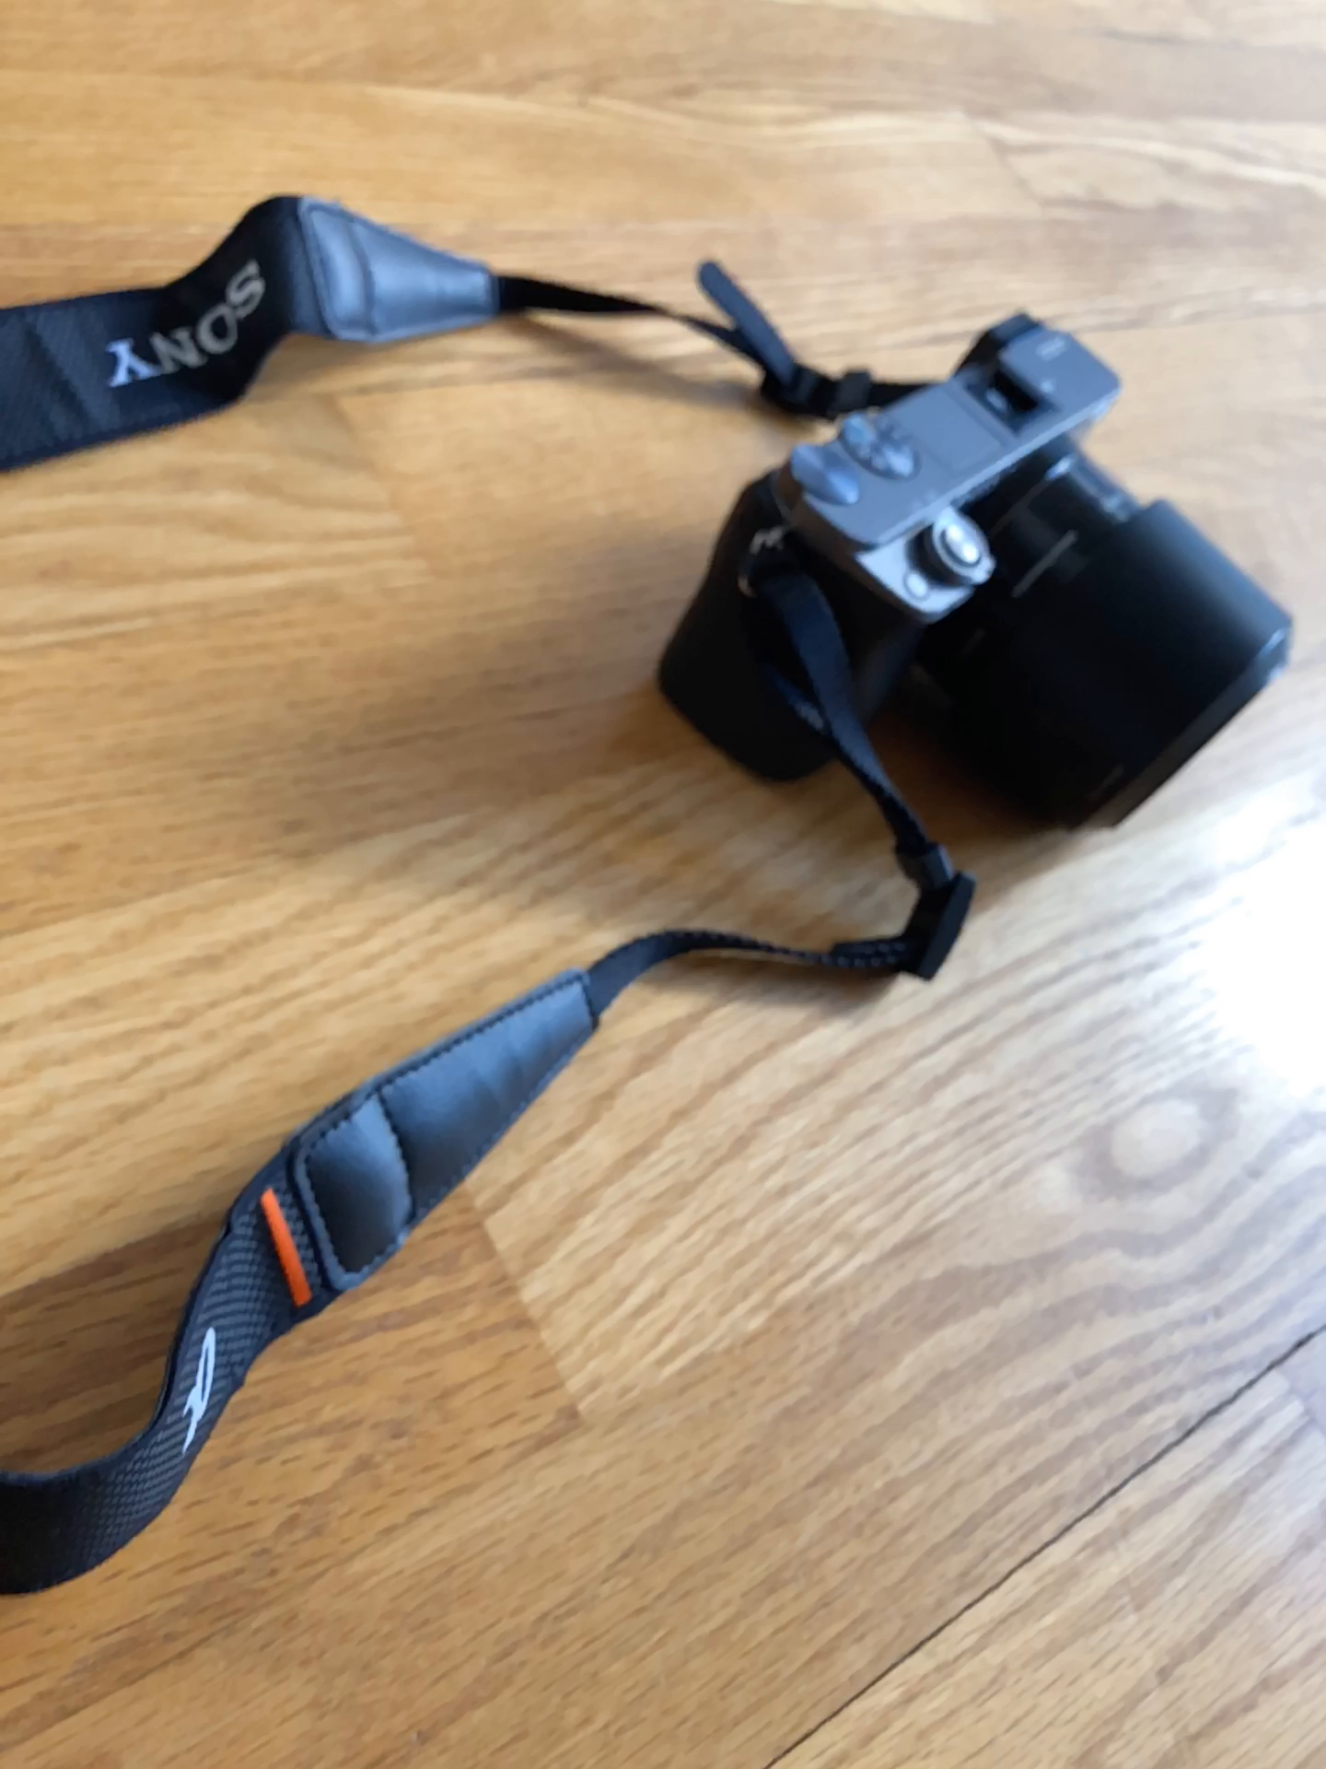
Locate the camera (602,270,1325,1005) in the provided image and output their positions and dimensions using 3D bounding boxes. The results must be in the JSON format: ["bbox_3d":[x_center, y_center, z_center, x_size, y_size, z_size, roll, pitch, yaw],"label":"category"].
[{"bbox_3d":[0.079,-0.063,0.339,0.110,0.060,0.141,46,51,8],"label":"camera"}]
